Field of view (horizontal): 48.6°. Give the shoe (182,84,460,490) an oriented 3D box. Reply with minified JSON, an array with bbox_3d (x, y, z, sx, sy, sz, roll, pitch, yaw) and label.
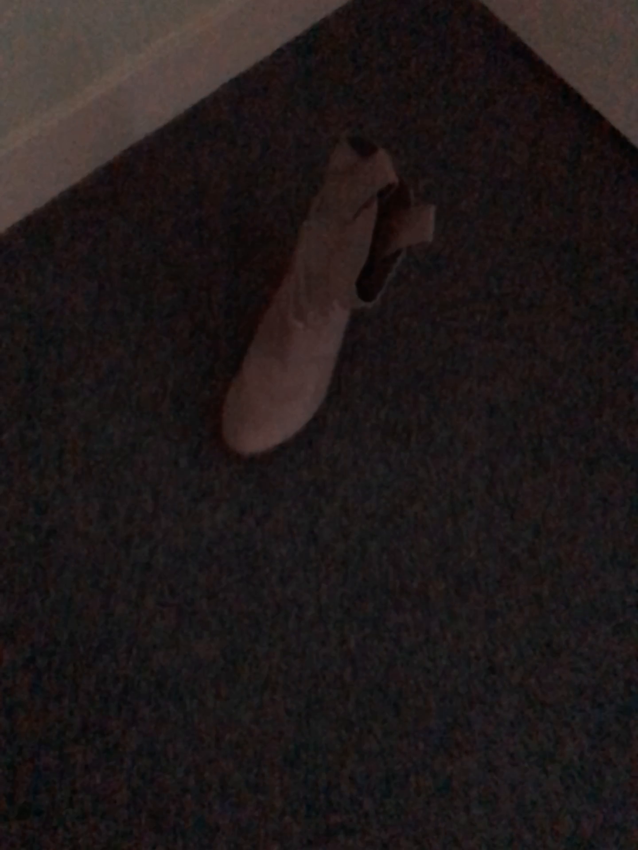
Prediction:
[{"bbox_3d":[-0.002,-0.100,0.606,0.130,0.219,0.241,19,71,0],"label":"shoe"}]
